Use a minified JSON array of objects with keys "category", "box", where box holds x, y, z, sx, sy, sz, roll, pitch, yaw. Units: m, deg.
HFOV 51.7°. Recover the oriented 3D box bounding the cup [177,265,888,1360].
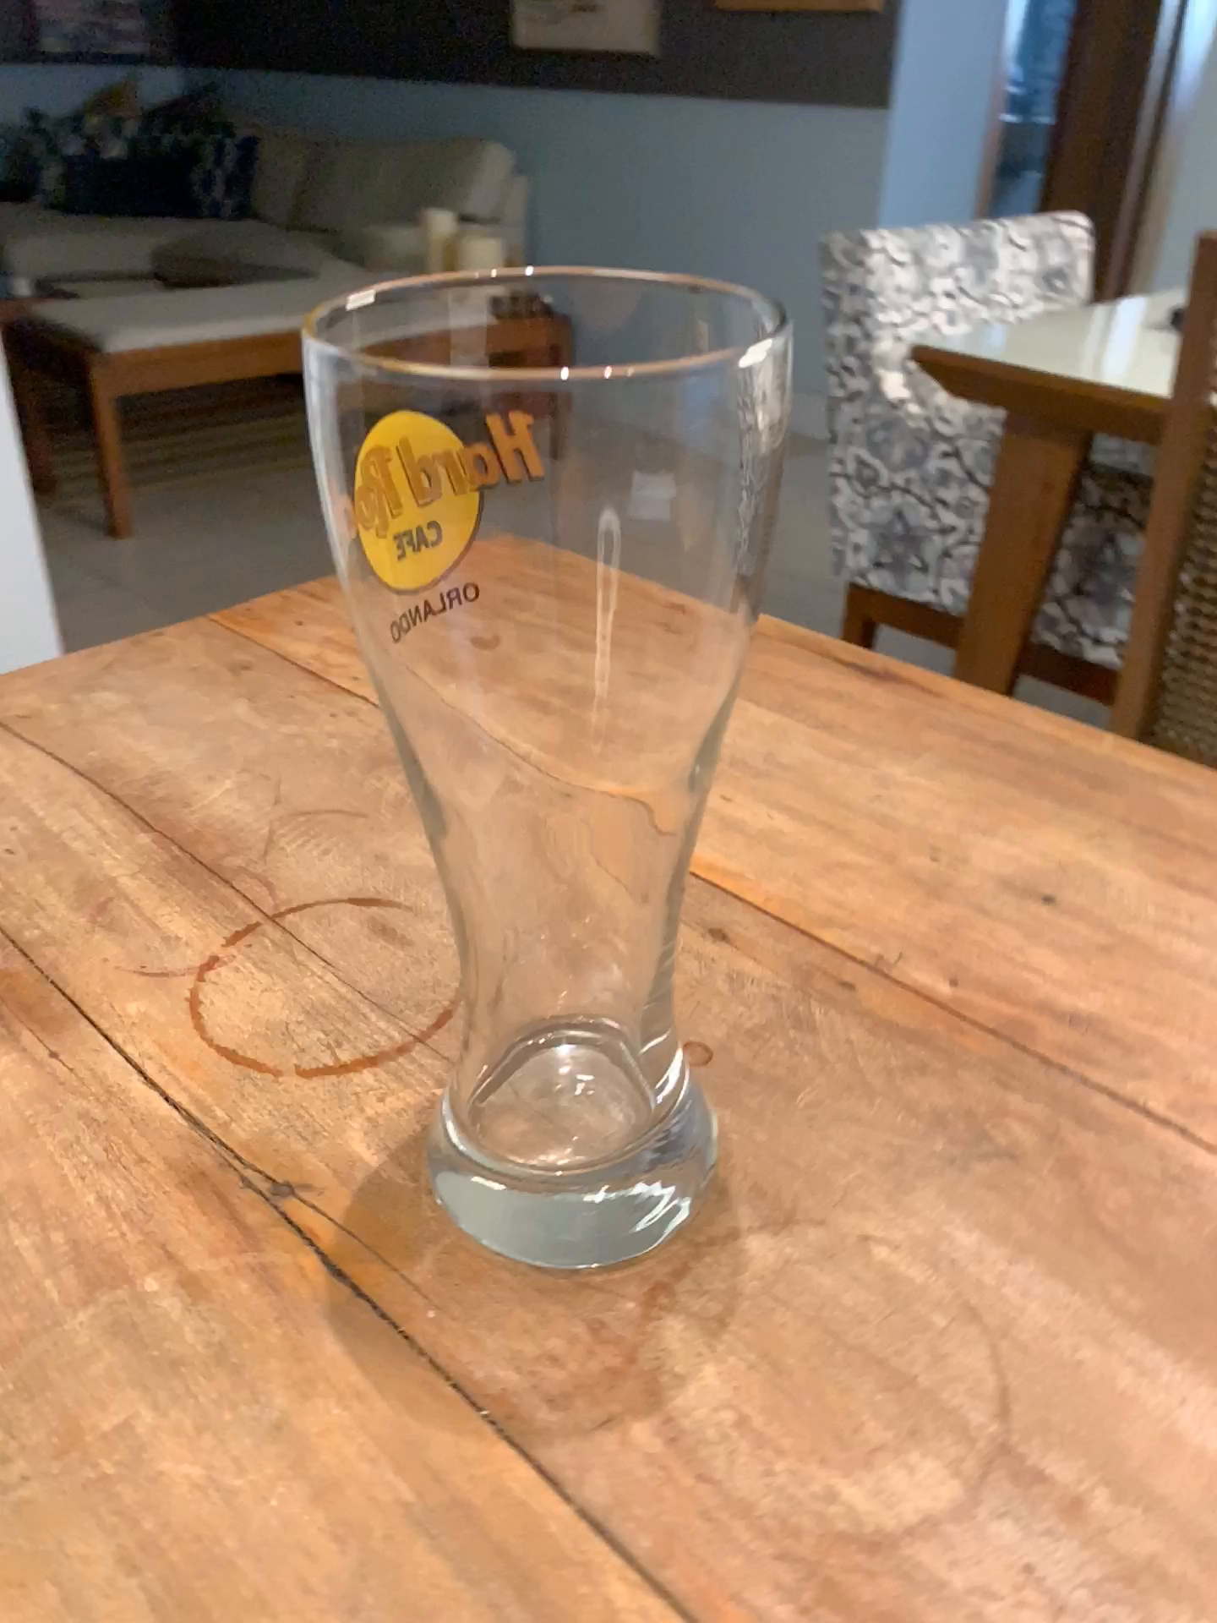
[{"category":"cup","box":[-0.012,-0.003,0.274,0.090,0.201,0.090,0,29,0]}]
